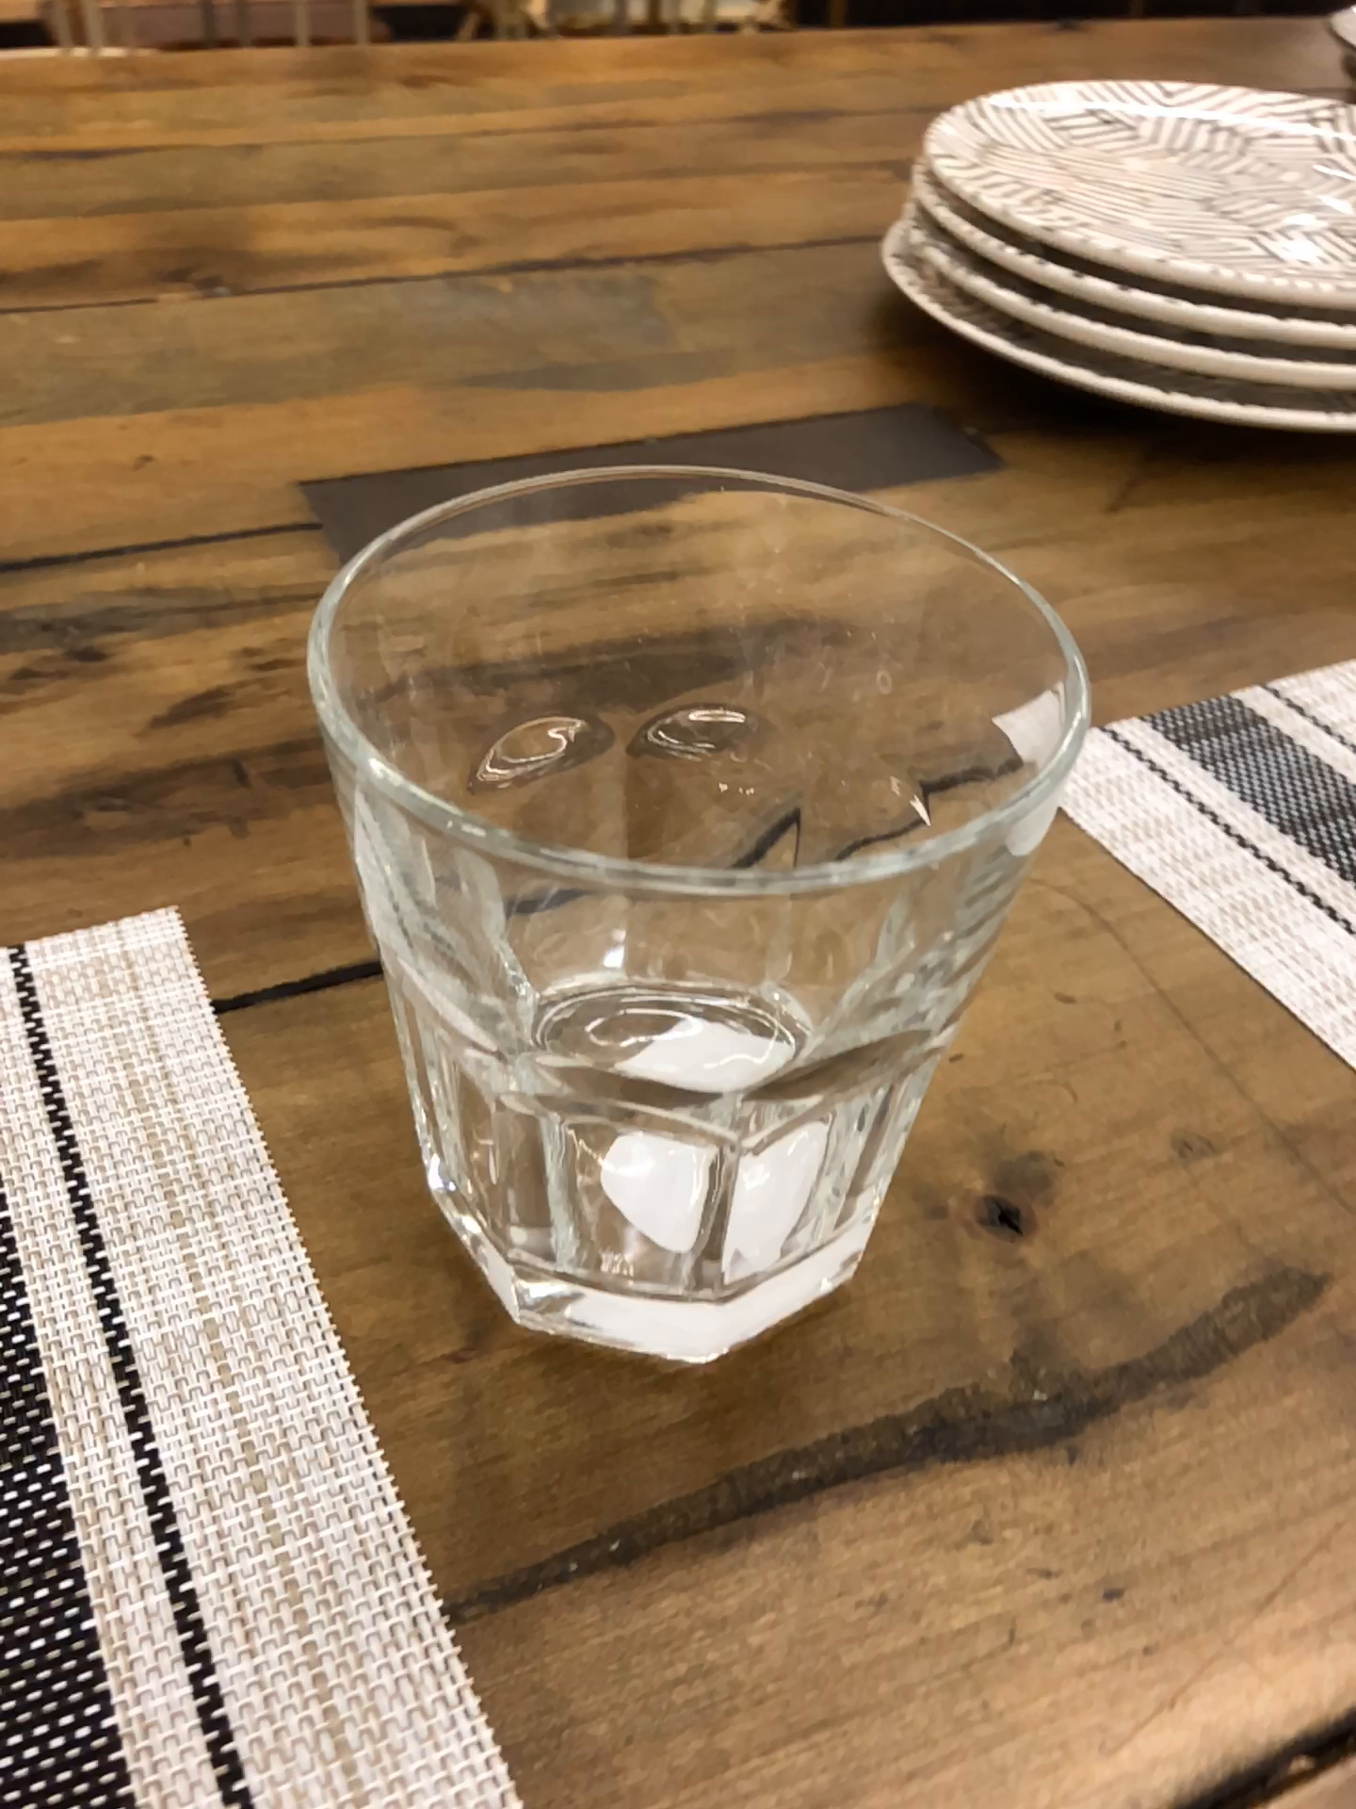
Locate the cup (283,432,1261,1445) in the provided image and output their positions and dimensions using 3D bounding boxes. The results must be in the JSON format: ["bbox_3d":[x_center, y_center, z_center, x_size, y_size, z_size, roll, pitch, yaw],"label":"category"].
[{"bbox_3d":[0.000,-0.001,0.191,0.087,0.081,0.090,3,40,-2],"label":"cup"}]
